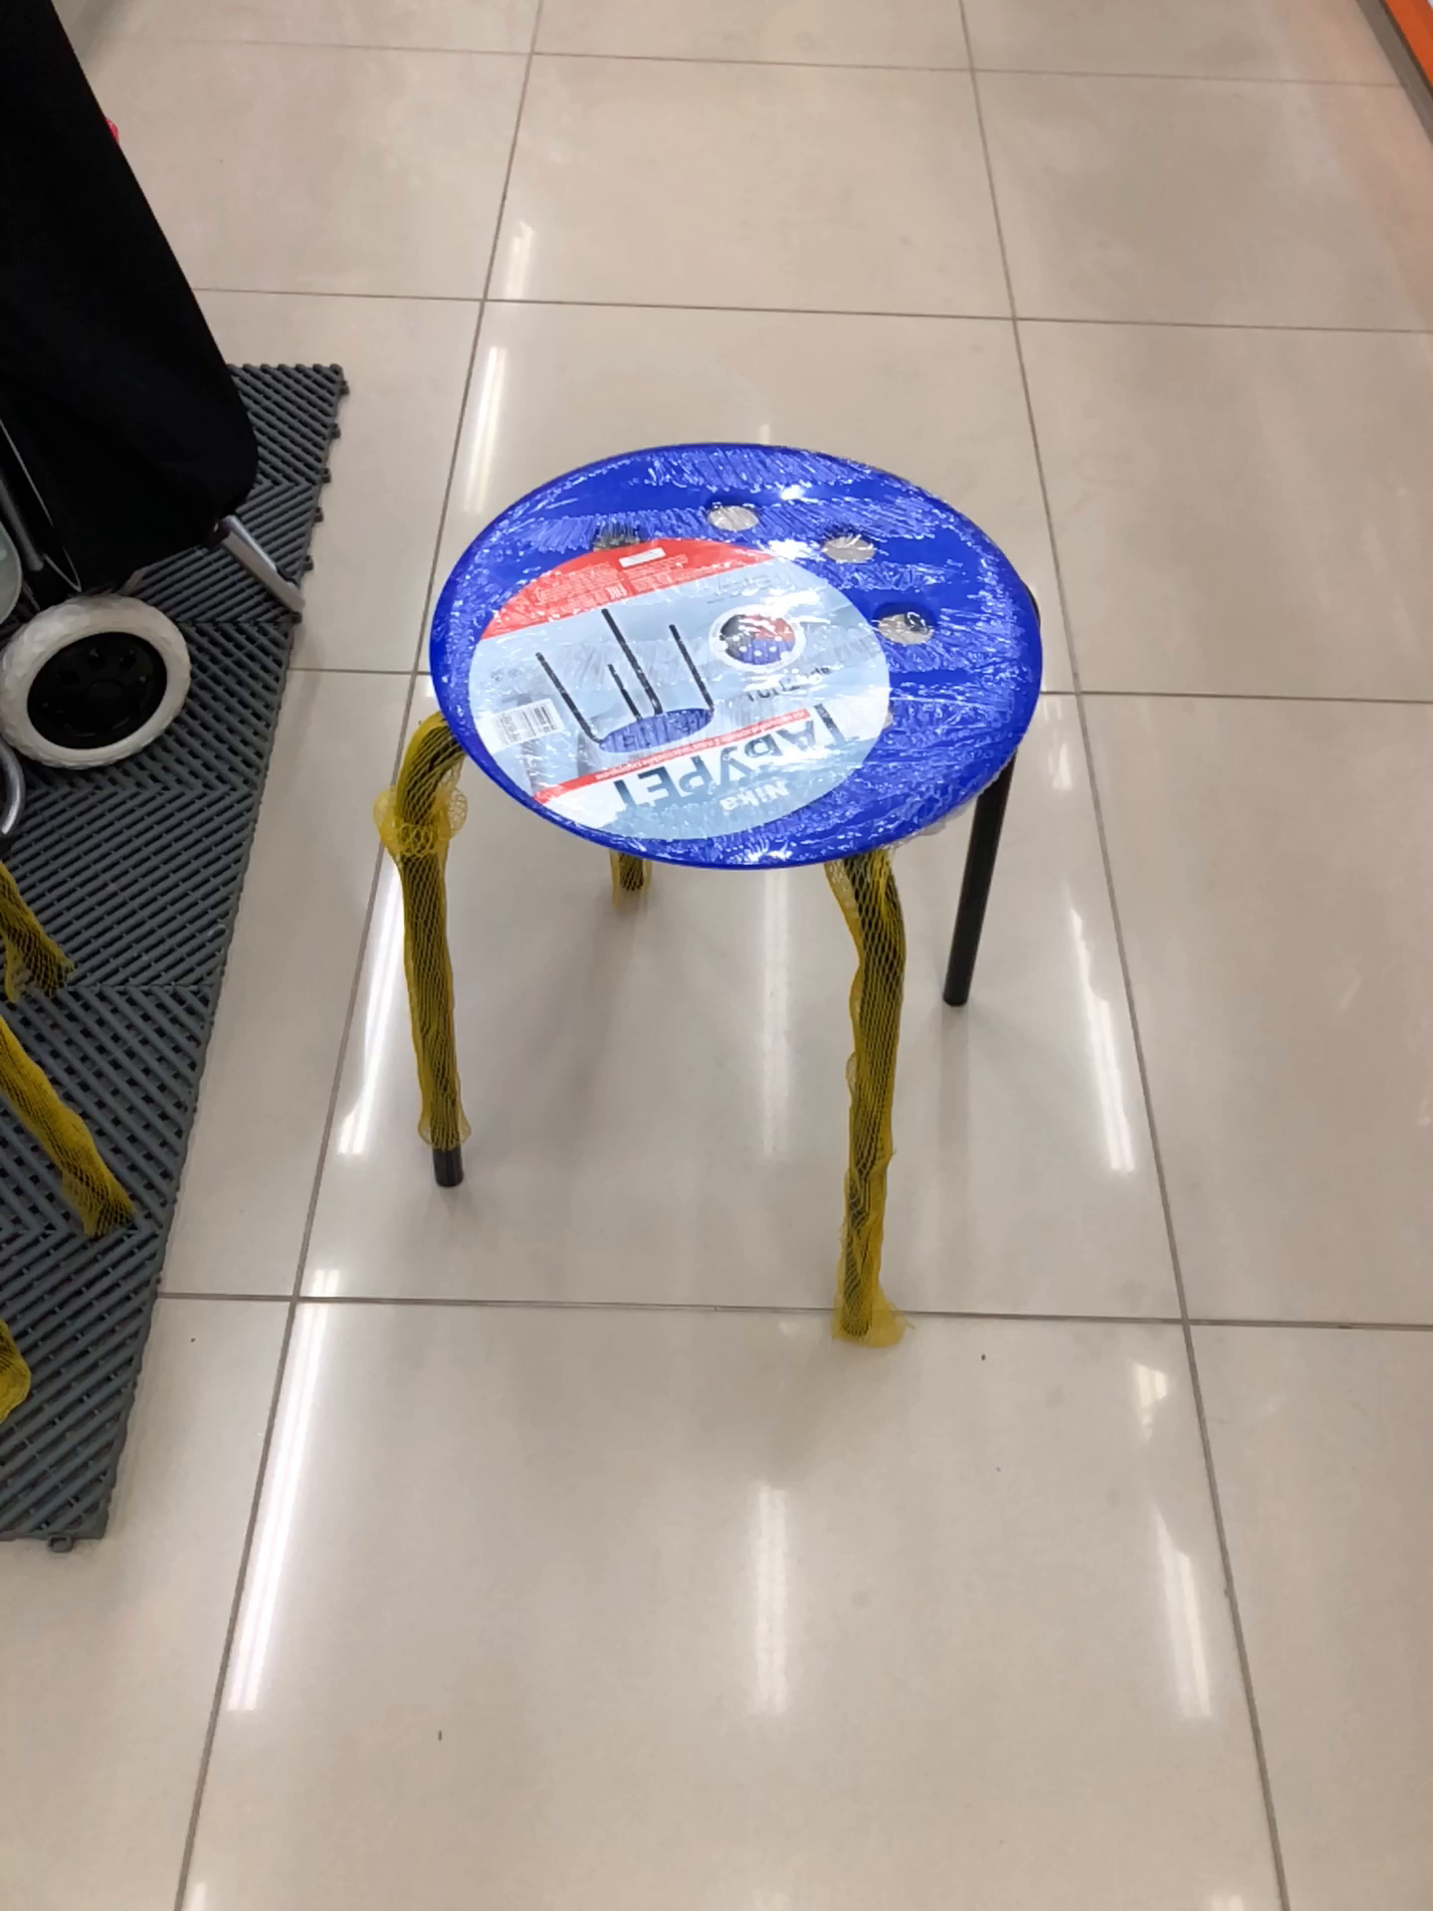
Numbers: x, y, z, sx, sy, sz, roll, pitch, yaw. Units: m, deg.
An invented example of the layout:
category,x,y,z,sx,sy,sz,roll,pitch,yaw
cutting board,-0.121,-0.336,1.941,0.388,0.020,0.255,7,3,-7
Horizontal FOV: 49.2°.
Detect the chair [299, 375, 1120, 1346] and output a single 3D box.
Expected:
category,x,y,z,sx,sy,sz,roll,pitch,yaw
chair,0.008,-0.043,0.959,0.323,0.426,0.322,17,54,11
